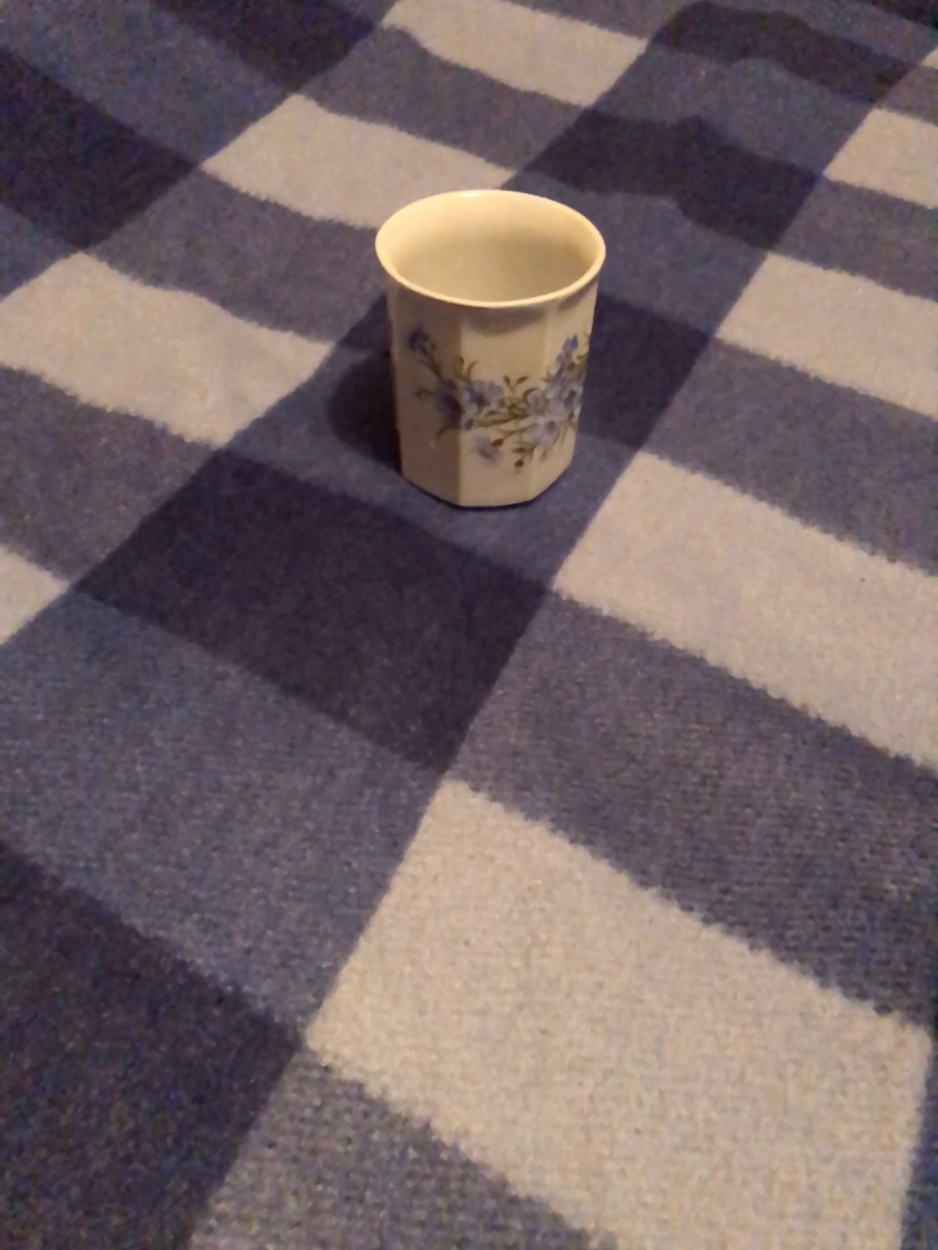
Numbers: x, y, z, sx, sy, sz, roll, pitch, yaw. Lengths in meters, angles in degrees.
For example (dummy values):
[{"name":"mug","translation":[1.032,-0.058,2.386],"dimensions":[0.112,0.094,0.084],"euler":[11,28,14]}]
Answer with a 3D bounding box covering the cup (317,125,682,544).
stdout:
[{"name":"cup","translation":[0.010,-0.108,0.383],"dimensions":[0.077,0.094,0.098],"euler":[35,58,22]}]
